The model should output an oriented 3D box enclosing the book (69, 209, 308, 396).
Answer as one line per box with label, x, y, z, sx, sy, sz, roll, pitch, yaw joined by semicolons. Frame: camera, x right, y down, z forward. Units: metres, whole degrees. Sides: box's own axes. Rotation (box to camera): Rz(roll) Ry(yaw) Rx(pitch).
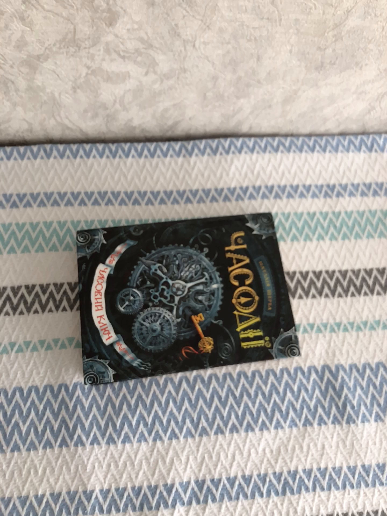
book;-0.011;0.045;0.480;0.238;0.032;0.178;-6;72;-6
